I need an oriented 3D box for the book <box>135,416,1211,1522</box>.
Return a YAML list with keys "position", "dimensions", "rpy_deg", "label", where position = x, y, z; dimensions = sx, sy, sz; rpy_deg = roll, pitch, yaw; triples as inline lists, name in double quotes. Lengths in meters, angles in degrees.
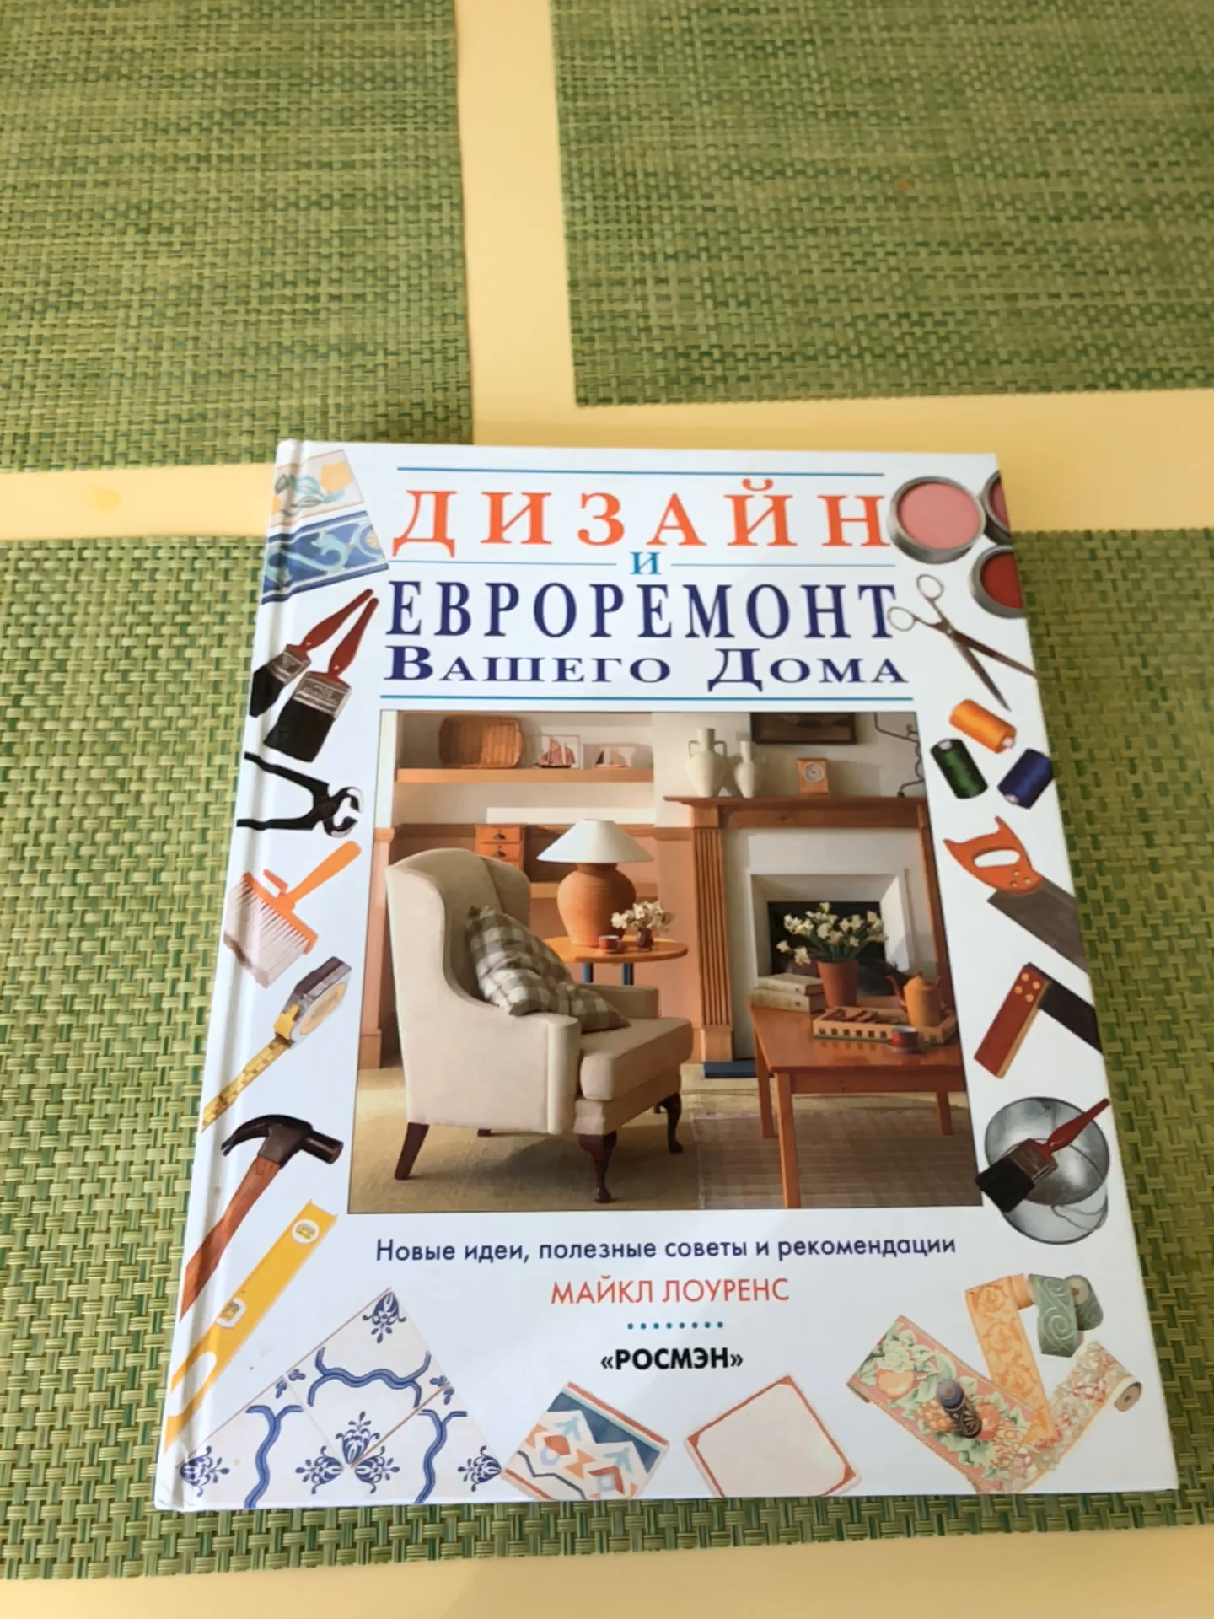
- position: [0.013, 0.023, 0.342]
  dimensions: [0.213, 0.038, 0.276]
  rpy_deg: [1, 64, -3]
  label: "book"
